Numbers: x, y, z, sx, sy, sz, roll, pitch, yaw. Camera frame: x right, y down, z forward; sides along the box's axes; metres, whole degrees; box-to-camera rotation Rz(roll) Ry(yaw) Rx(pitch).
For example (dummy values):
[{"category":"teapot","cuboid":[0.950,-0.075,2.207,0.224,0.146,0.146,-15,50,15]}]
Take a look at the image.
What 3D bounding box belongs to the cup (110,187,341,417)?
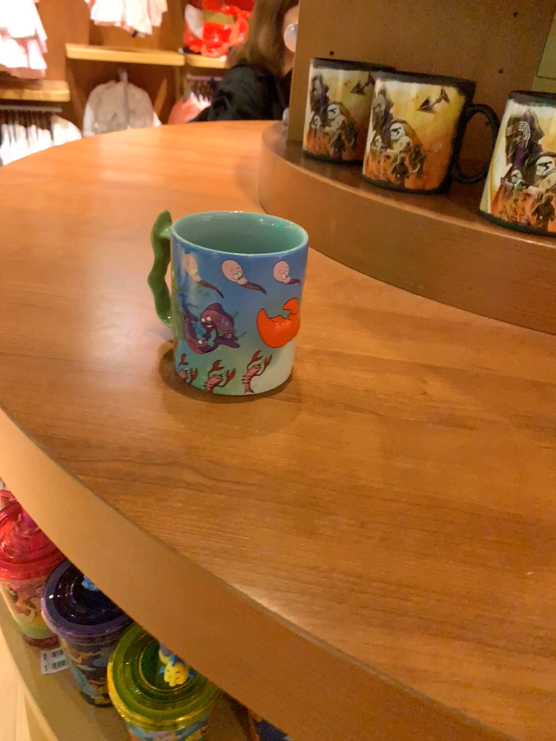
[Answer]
[{"category":"cup","cuboid":[-0.042,-0.057,0.402,0.091,0.101,0.135,-20,39,-36]}]
